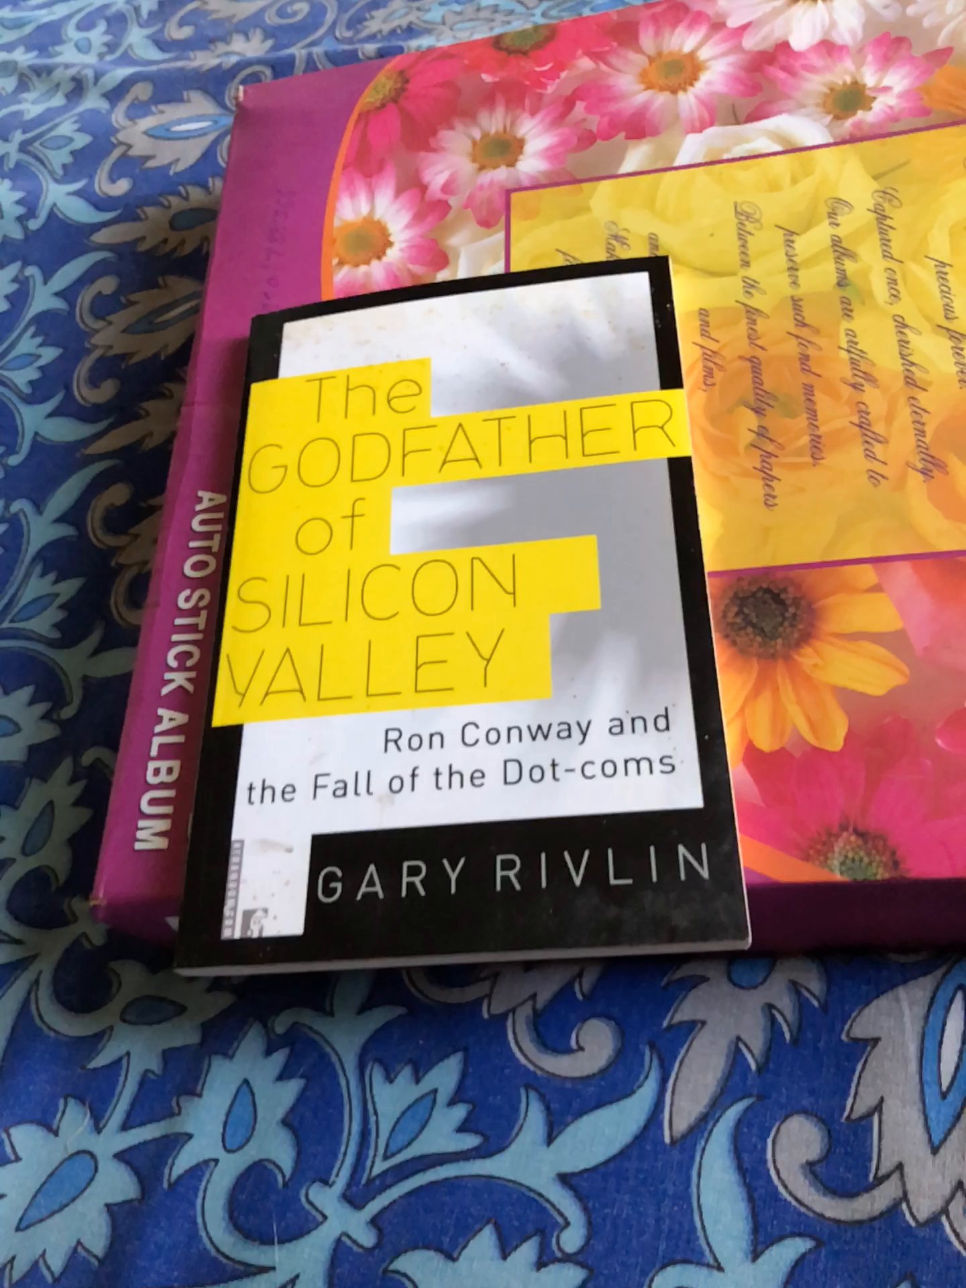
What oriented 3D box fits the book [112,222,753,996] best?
[{"bbox_3d":[-0.013,-0.019,0.304,0.150,0.020,0.220,-4,65,9],"label":"book"}]
